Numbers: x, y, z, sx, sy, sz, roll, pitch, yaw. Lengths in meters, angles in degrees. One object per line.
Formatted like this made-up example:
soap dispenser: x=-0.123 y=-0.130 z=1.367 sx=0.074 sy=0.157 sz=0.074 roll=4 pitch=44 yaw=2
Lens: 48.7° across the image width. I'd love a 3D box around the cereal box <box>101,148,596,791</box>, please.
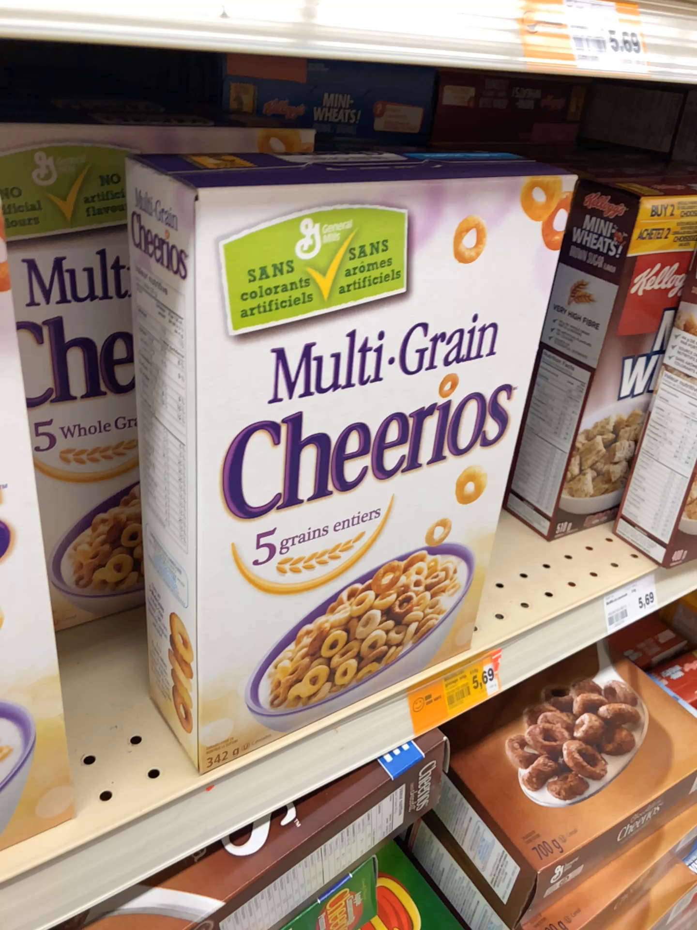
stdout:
cereal box: x=-0.003 y=0.000 z=0.376 sx=0.200 sy=0.278 sz=0.060 roll=-14 pitch=35 yaw=-32
